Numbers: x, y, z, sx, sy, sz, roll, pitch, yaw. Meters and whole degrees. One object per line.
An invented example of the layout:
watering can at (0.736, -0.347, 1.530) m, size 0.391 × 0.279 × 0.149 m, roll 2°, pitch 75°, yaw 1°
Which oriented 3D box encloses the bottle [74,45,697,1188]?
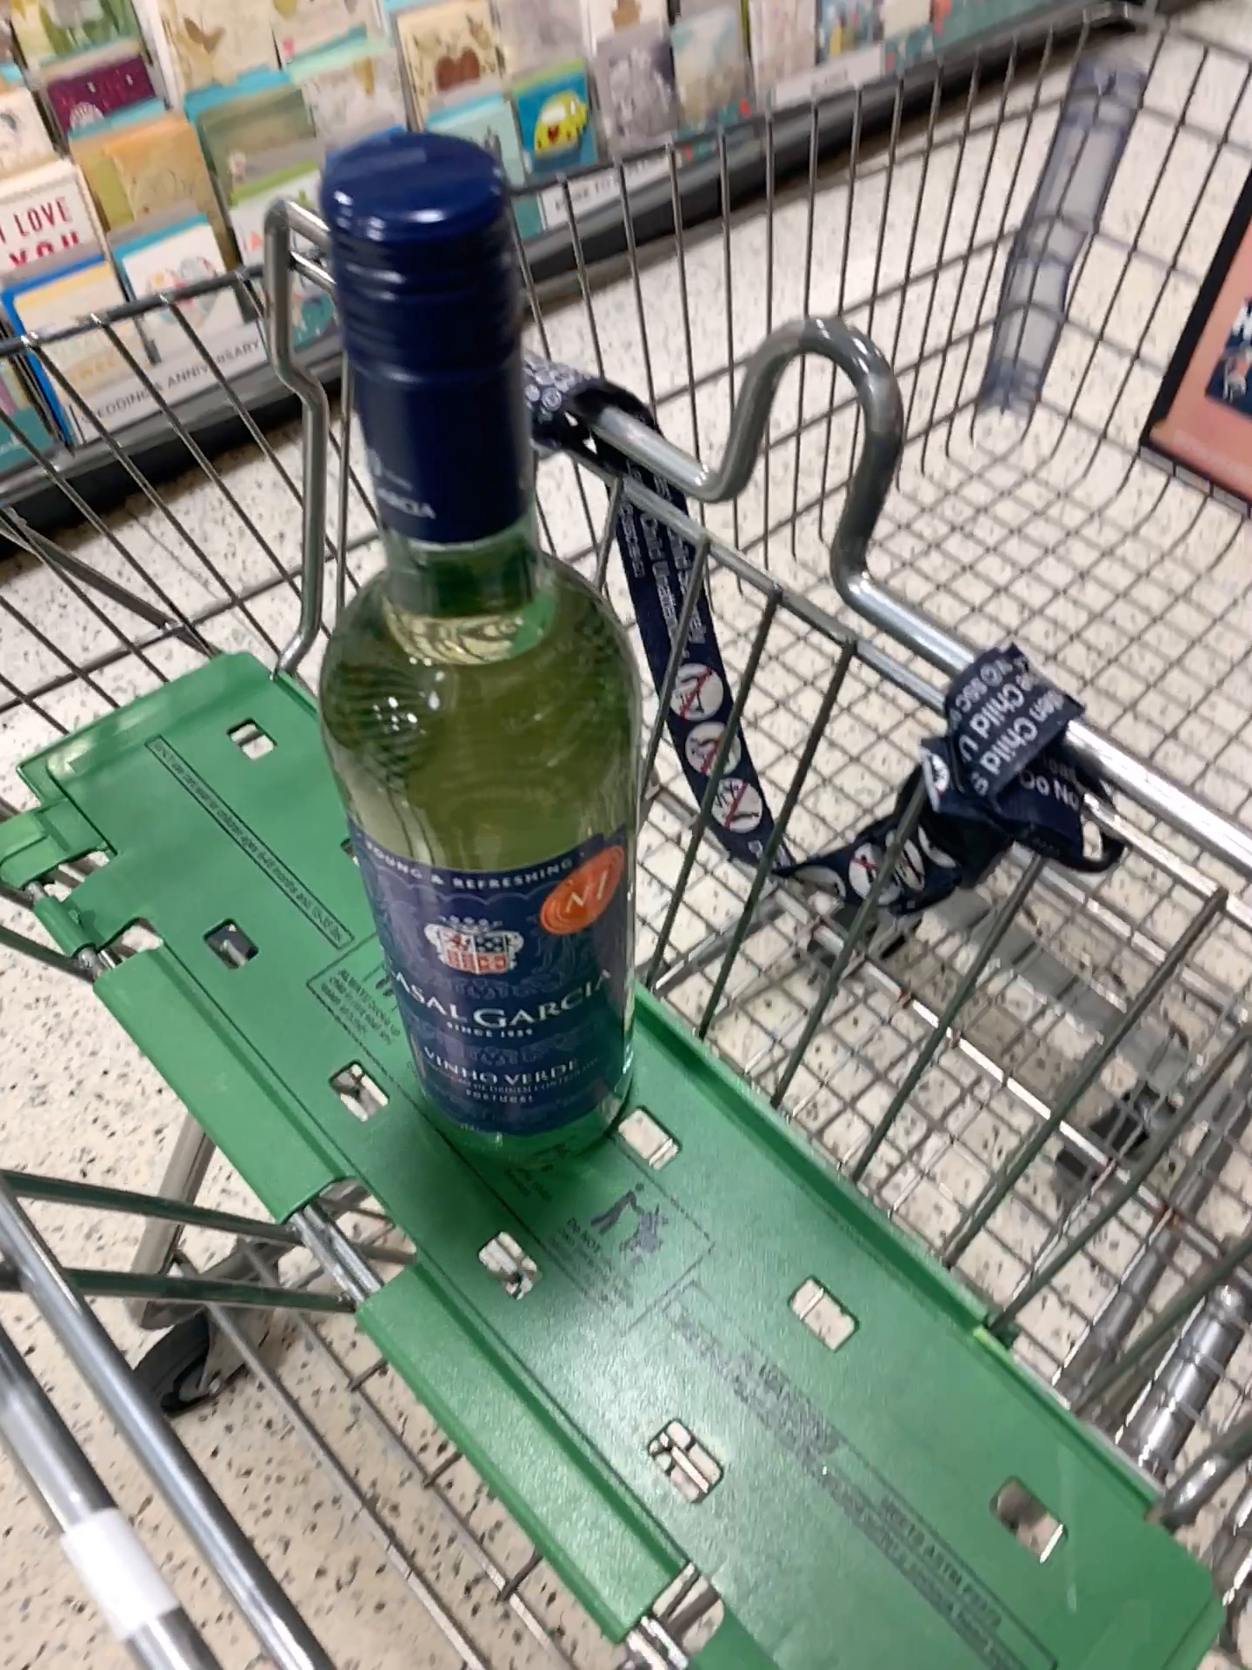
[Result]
bottle at (-0.033, -0.012, 0.315) m, size 0.080 × 0.297 × 0.081 m, roll 1°, pitch 53°, yaw -1°
